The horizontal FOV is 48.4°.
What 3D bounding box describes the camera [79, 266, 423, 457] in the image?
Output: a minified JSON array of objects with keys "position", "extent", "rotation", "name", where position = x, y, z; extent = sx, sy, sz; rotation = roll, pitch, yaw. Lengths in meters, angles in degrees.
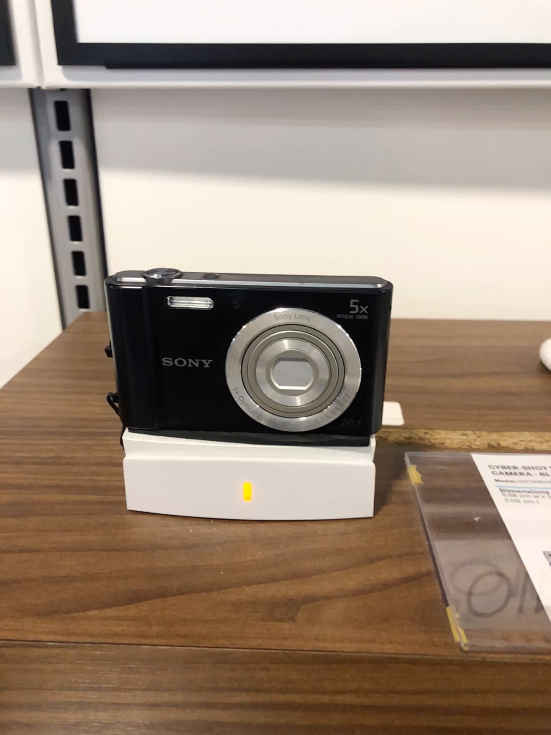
[{"position":[-0.007,-0.004,0.199],"extent":[0.100,0.050,0.030],"rotation":[3,21,7],"name":"camera"}]
